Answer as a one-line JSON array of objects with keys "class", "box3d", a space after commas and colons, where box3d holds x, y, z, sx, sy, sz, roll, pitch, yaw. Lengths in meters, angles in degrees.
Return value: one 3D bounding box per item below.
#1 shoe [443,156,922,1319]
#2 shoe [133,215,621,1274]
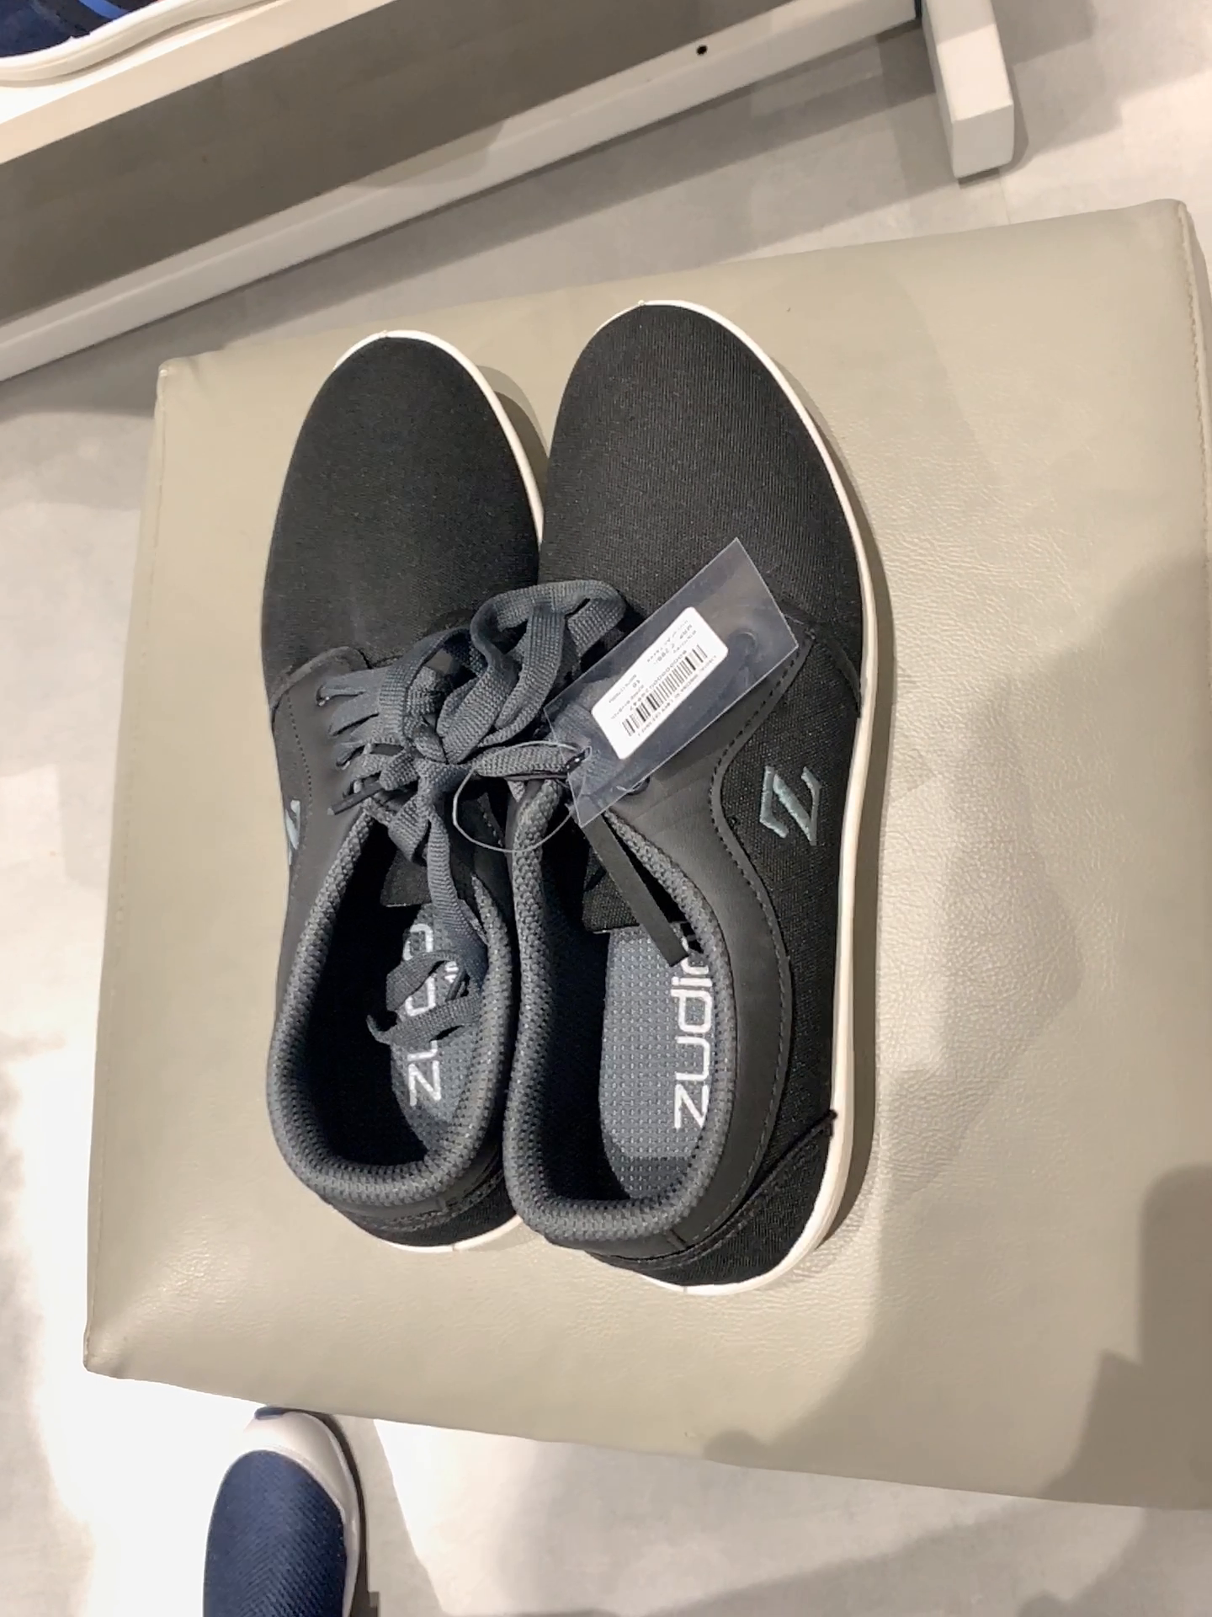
[{"class": "shoe", "box3d": [0.023, -0.016, 0.358, 0.100, 0.100, 0.280, -5, 80, 22]}, {"class": "shoe", "box3d": [-0.065, -0.013, 0.372, 0.100, 0.100, 0.270, -6, 80, 16]}]
